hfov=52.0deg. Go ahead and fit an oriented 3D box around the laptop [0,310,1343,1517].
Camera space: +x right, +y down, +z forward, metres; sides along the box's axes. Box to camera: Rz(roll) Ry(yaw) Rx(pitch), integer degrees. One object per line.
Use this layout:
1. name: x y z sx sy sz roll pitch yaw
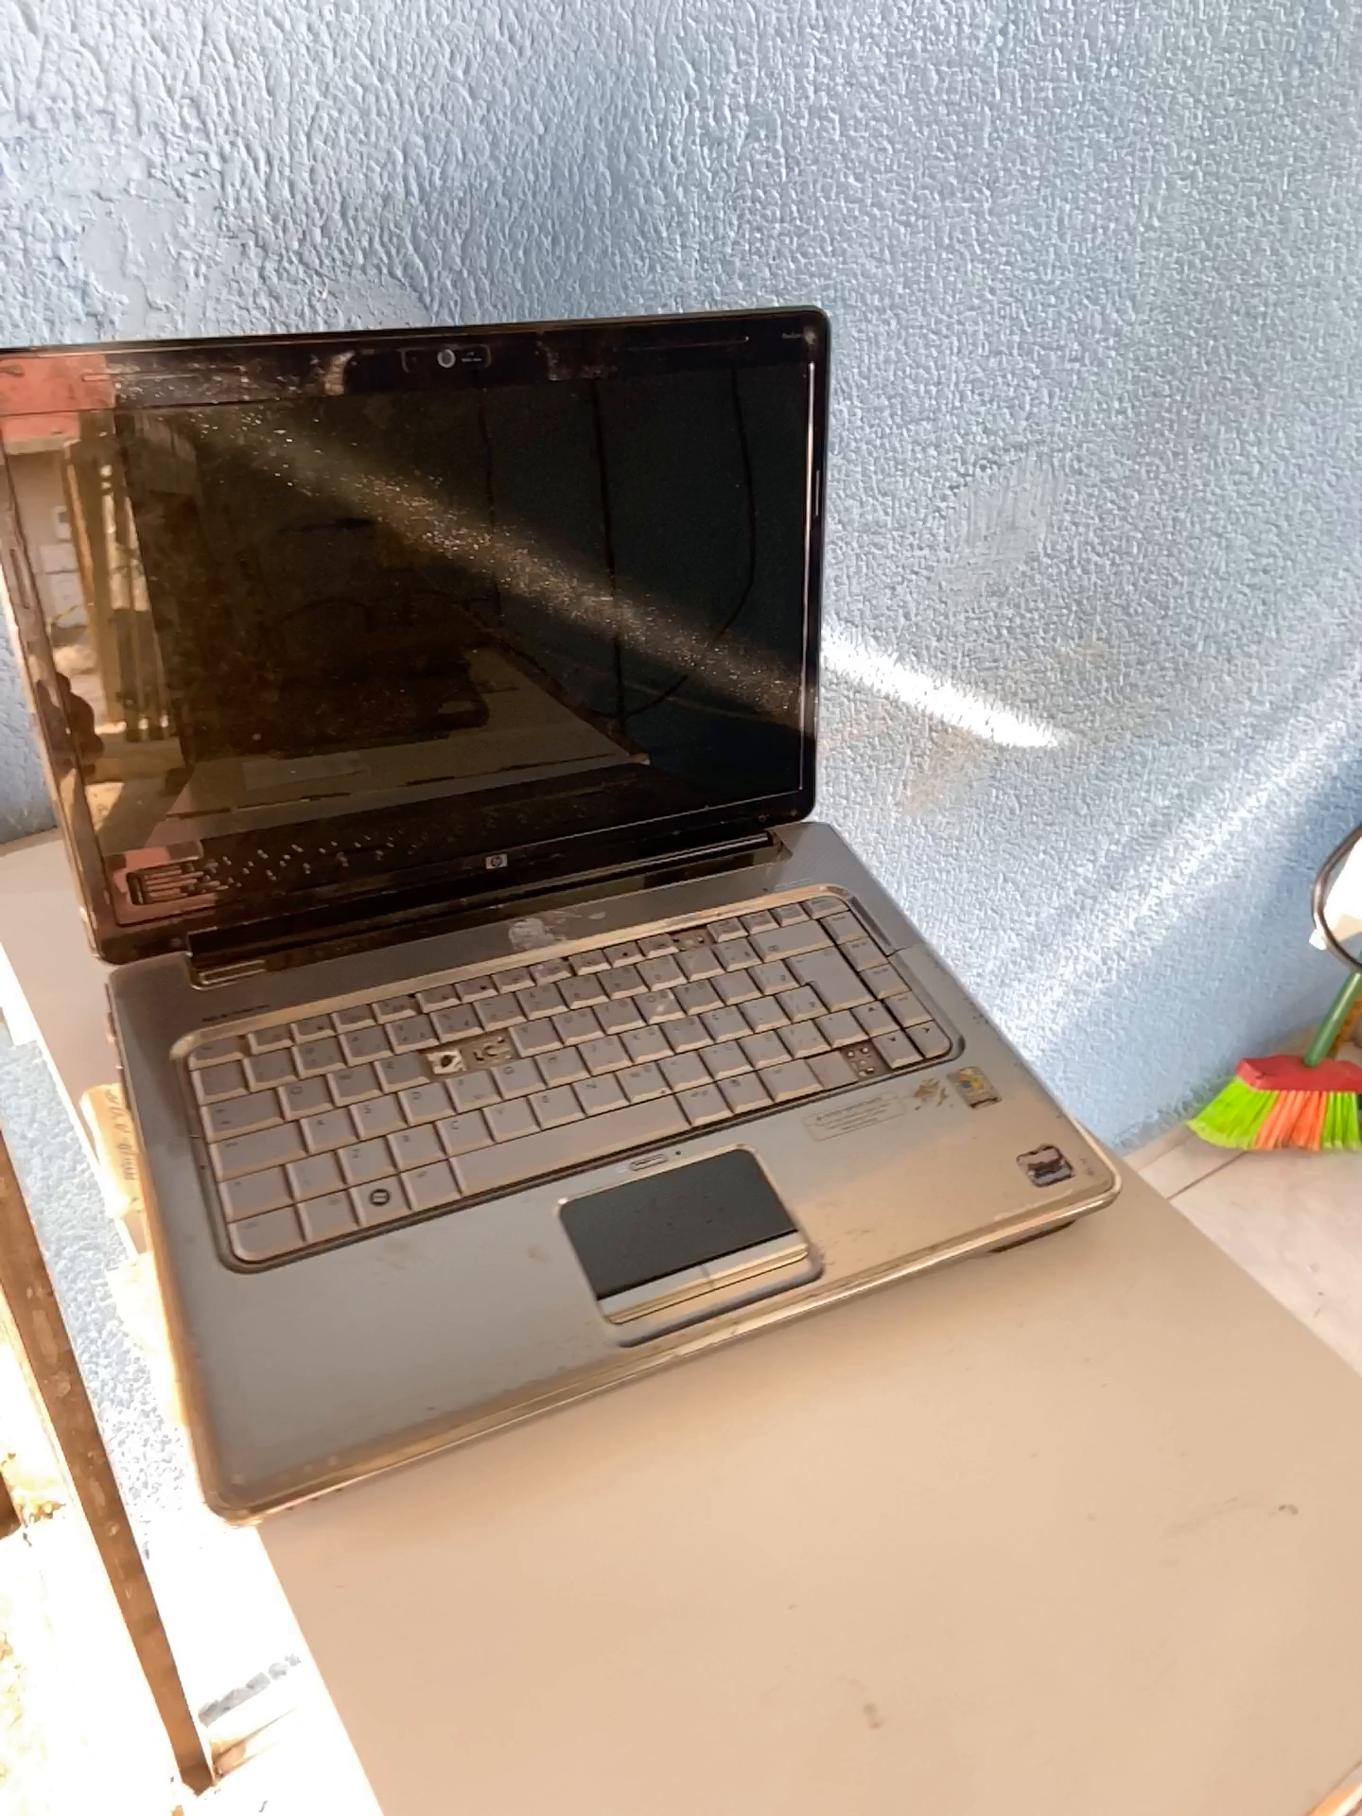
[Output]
1. laptop: -0.040 -0.044 0.529 0.352 0.233 0.329 -12 43 -22
